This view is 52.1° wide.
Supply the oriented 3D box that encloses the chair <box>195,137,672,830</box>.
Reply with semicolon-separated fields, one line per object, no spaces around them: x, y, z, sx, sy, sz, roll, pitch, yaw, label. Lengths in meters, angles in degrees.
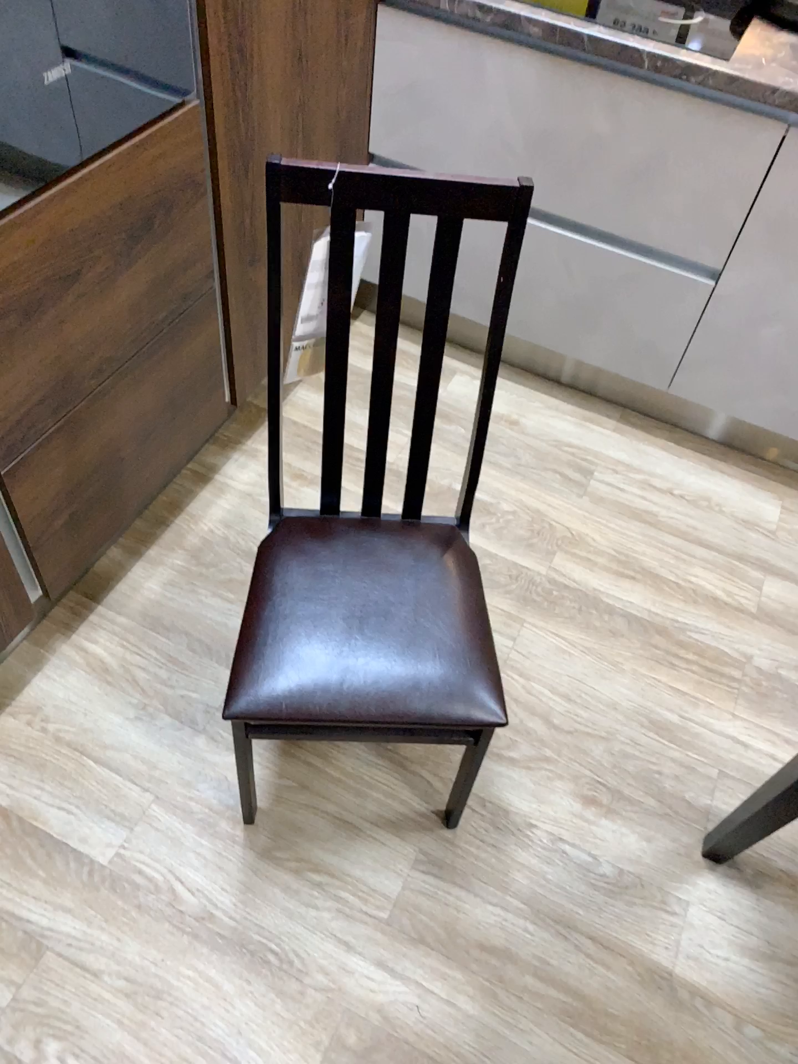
-0.021;0.029;1.285;0.430;1.015;0.522;2;51;-5;chair
